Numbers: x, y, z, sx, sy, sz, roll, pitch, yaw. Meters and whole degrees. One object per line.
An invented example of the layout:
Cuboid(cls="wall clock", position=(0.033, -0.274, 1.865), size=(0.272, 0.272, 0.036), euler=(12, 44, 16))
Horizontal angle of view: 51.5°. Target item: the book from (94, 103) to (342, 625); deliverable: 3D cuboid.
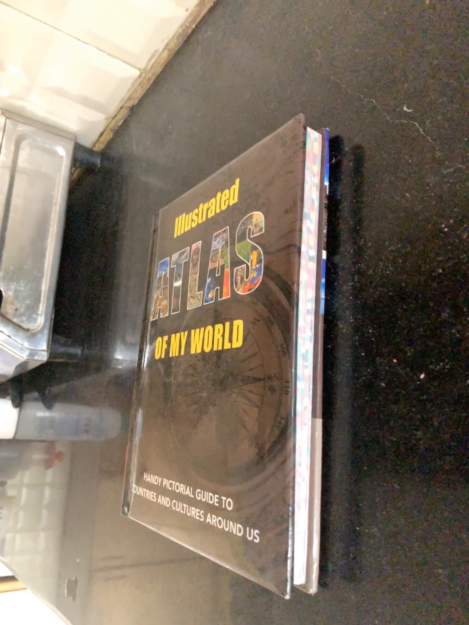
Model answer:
Cuboid(cls="book", position=(-0.021, 0.038, 0.319), size=(0.201, 0.040, 0.270), euler=(-14, 68, 54))
